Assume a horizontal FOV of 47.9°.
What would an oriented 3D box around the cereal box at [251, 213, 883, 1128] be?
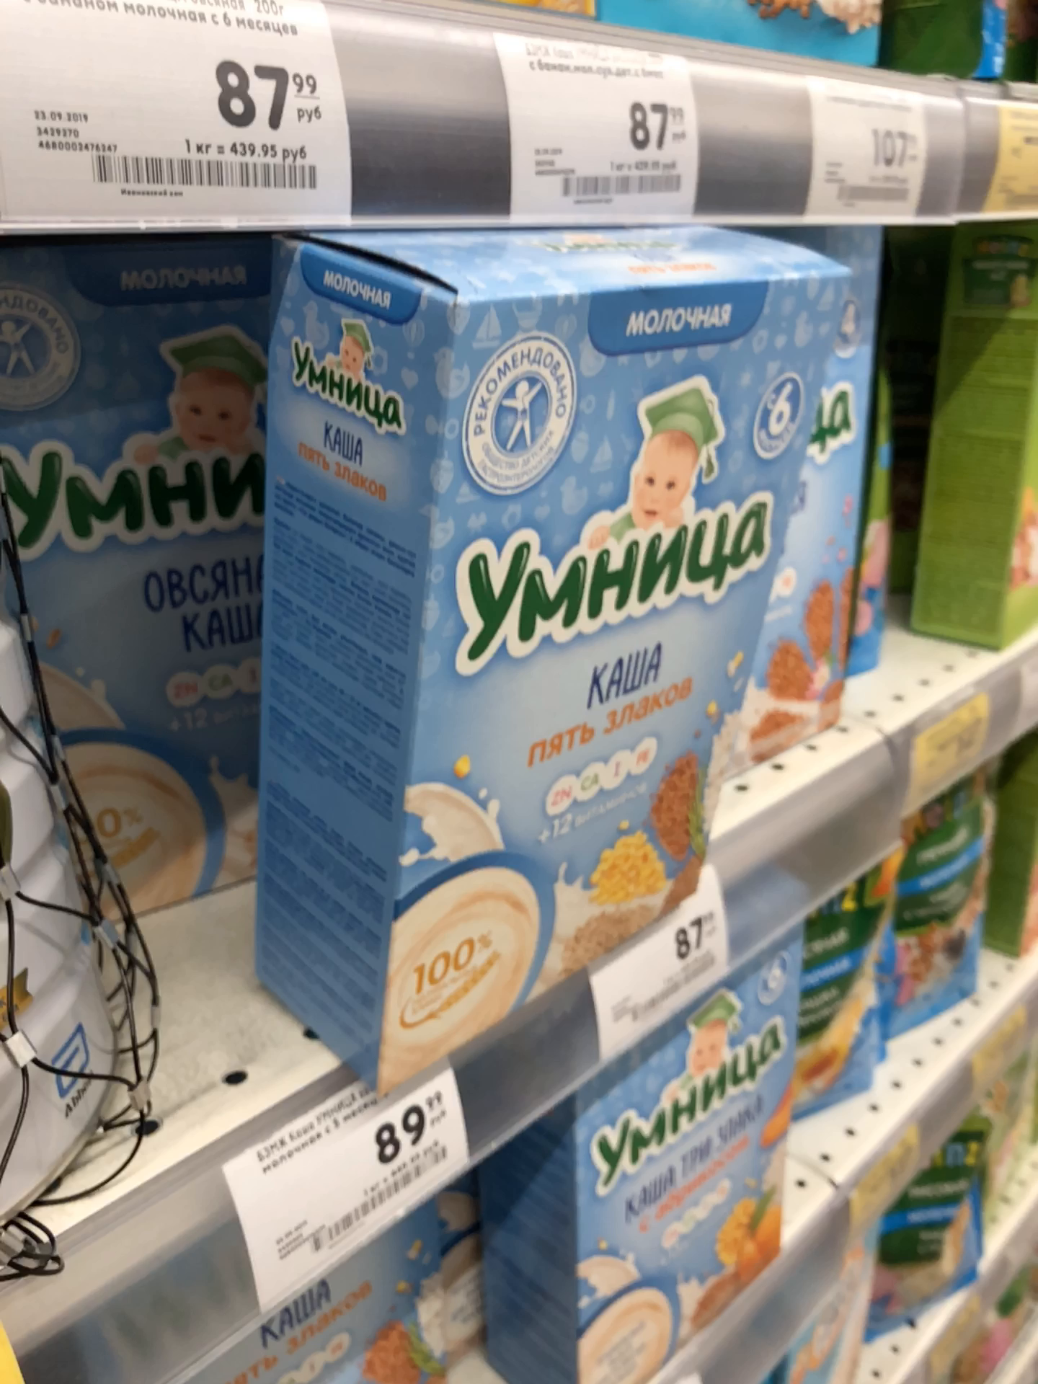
[{"bbox_3d":[0.007,-0.011,0.312,0.060,0.209,0.140,31,37,35],"label":"cereal box"}]
